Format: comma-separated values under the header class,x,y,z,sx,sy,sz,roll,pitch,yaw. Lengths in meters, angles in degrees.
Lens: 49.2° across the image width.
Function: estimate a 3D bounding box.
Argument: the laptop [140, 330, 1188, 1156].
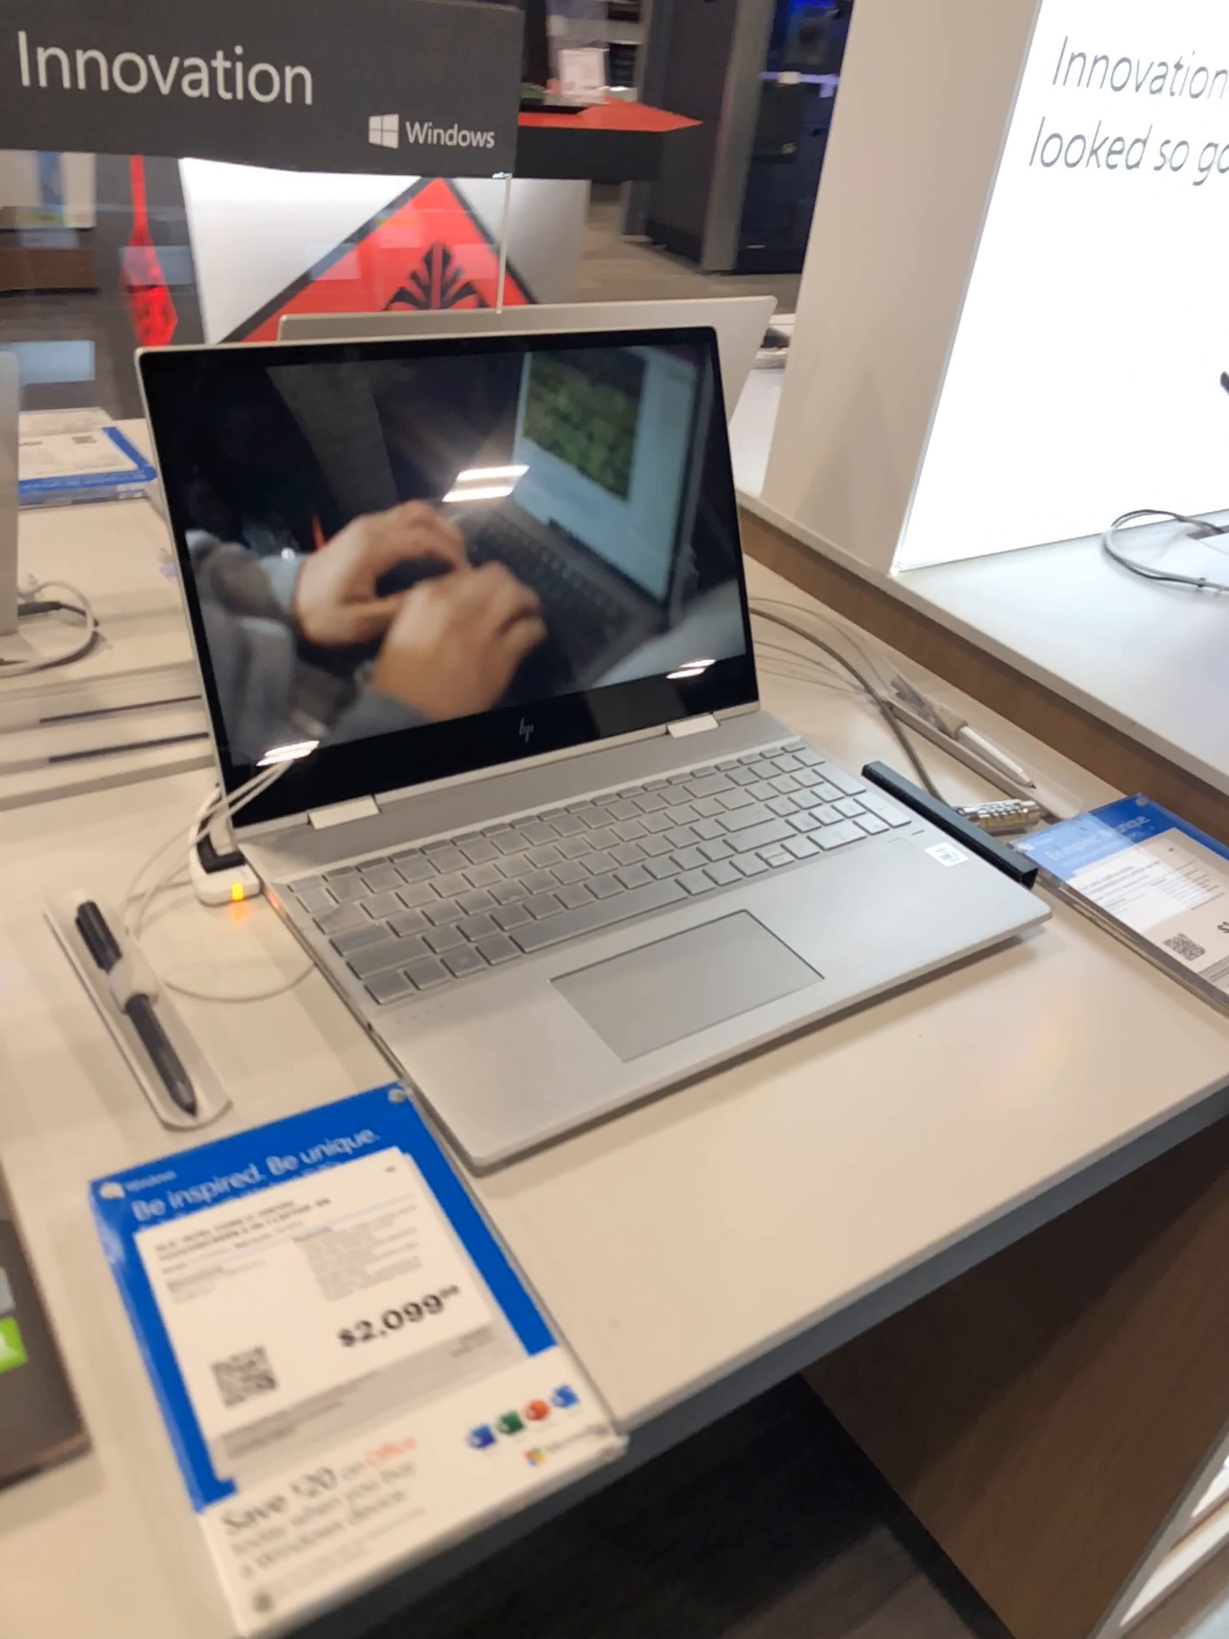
class,x,y,z,sx,sy,sz,roll,pitch,yaw
laptop,0.002,-0.087,0.686,0.359,0.210,0.354,-16,40,-32
